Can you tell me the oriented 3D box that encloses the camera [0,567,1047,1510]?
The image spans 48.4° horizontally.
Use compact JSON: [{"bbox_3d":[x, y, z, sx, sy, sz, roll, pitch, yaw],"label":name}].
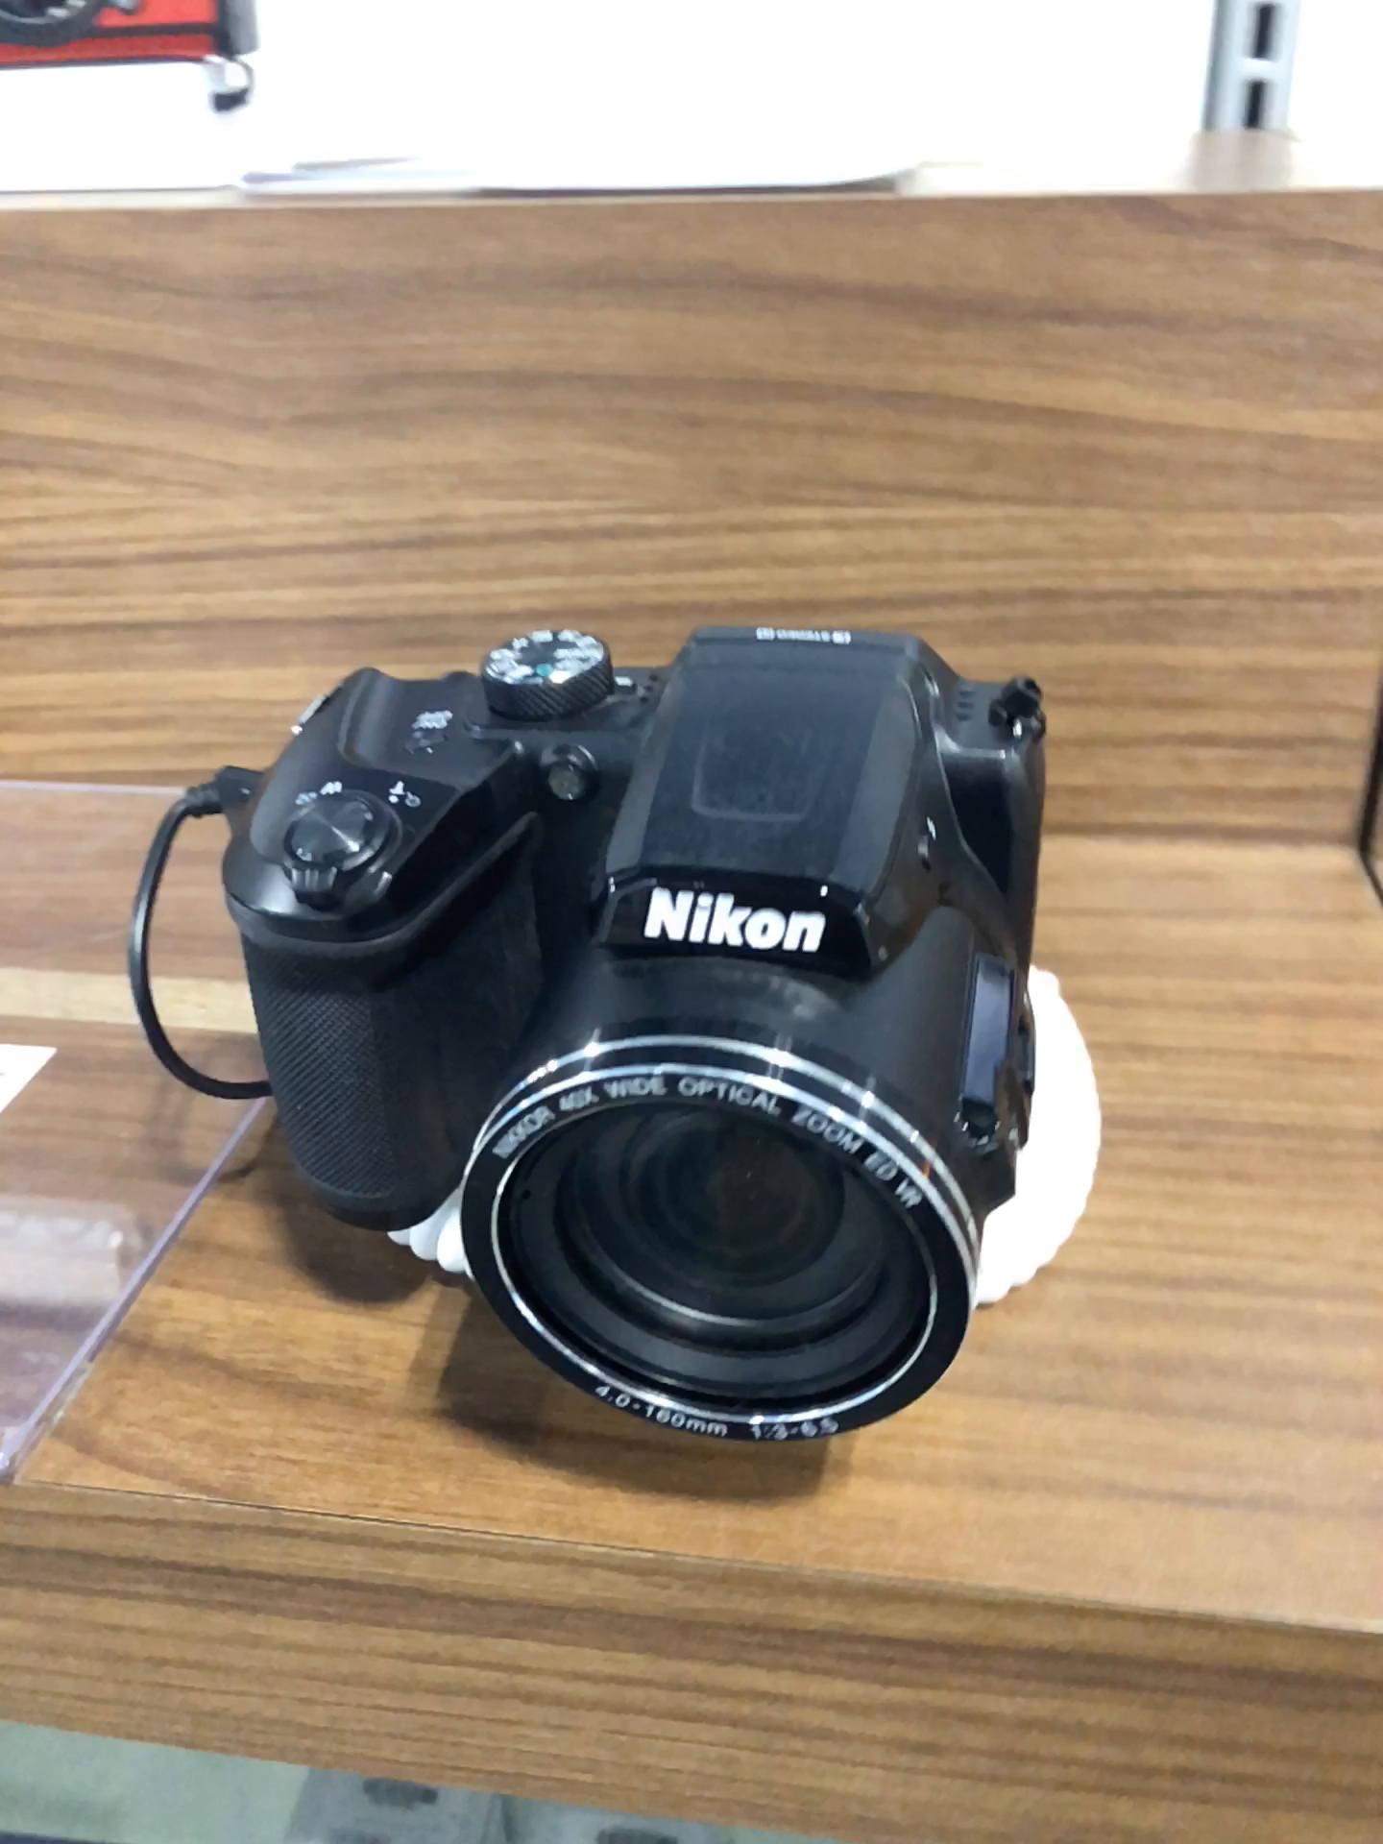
[{"bbox_3d":[-0.010,0.005,0.220,0.110,0.079,0.111,4,28,10],"label":"camera"}]
